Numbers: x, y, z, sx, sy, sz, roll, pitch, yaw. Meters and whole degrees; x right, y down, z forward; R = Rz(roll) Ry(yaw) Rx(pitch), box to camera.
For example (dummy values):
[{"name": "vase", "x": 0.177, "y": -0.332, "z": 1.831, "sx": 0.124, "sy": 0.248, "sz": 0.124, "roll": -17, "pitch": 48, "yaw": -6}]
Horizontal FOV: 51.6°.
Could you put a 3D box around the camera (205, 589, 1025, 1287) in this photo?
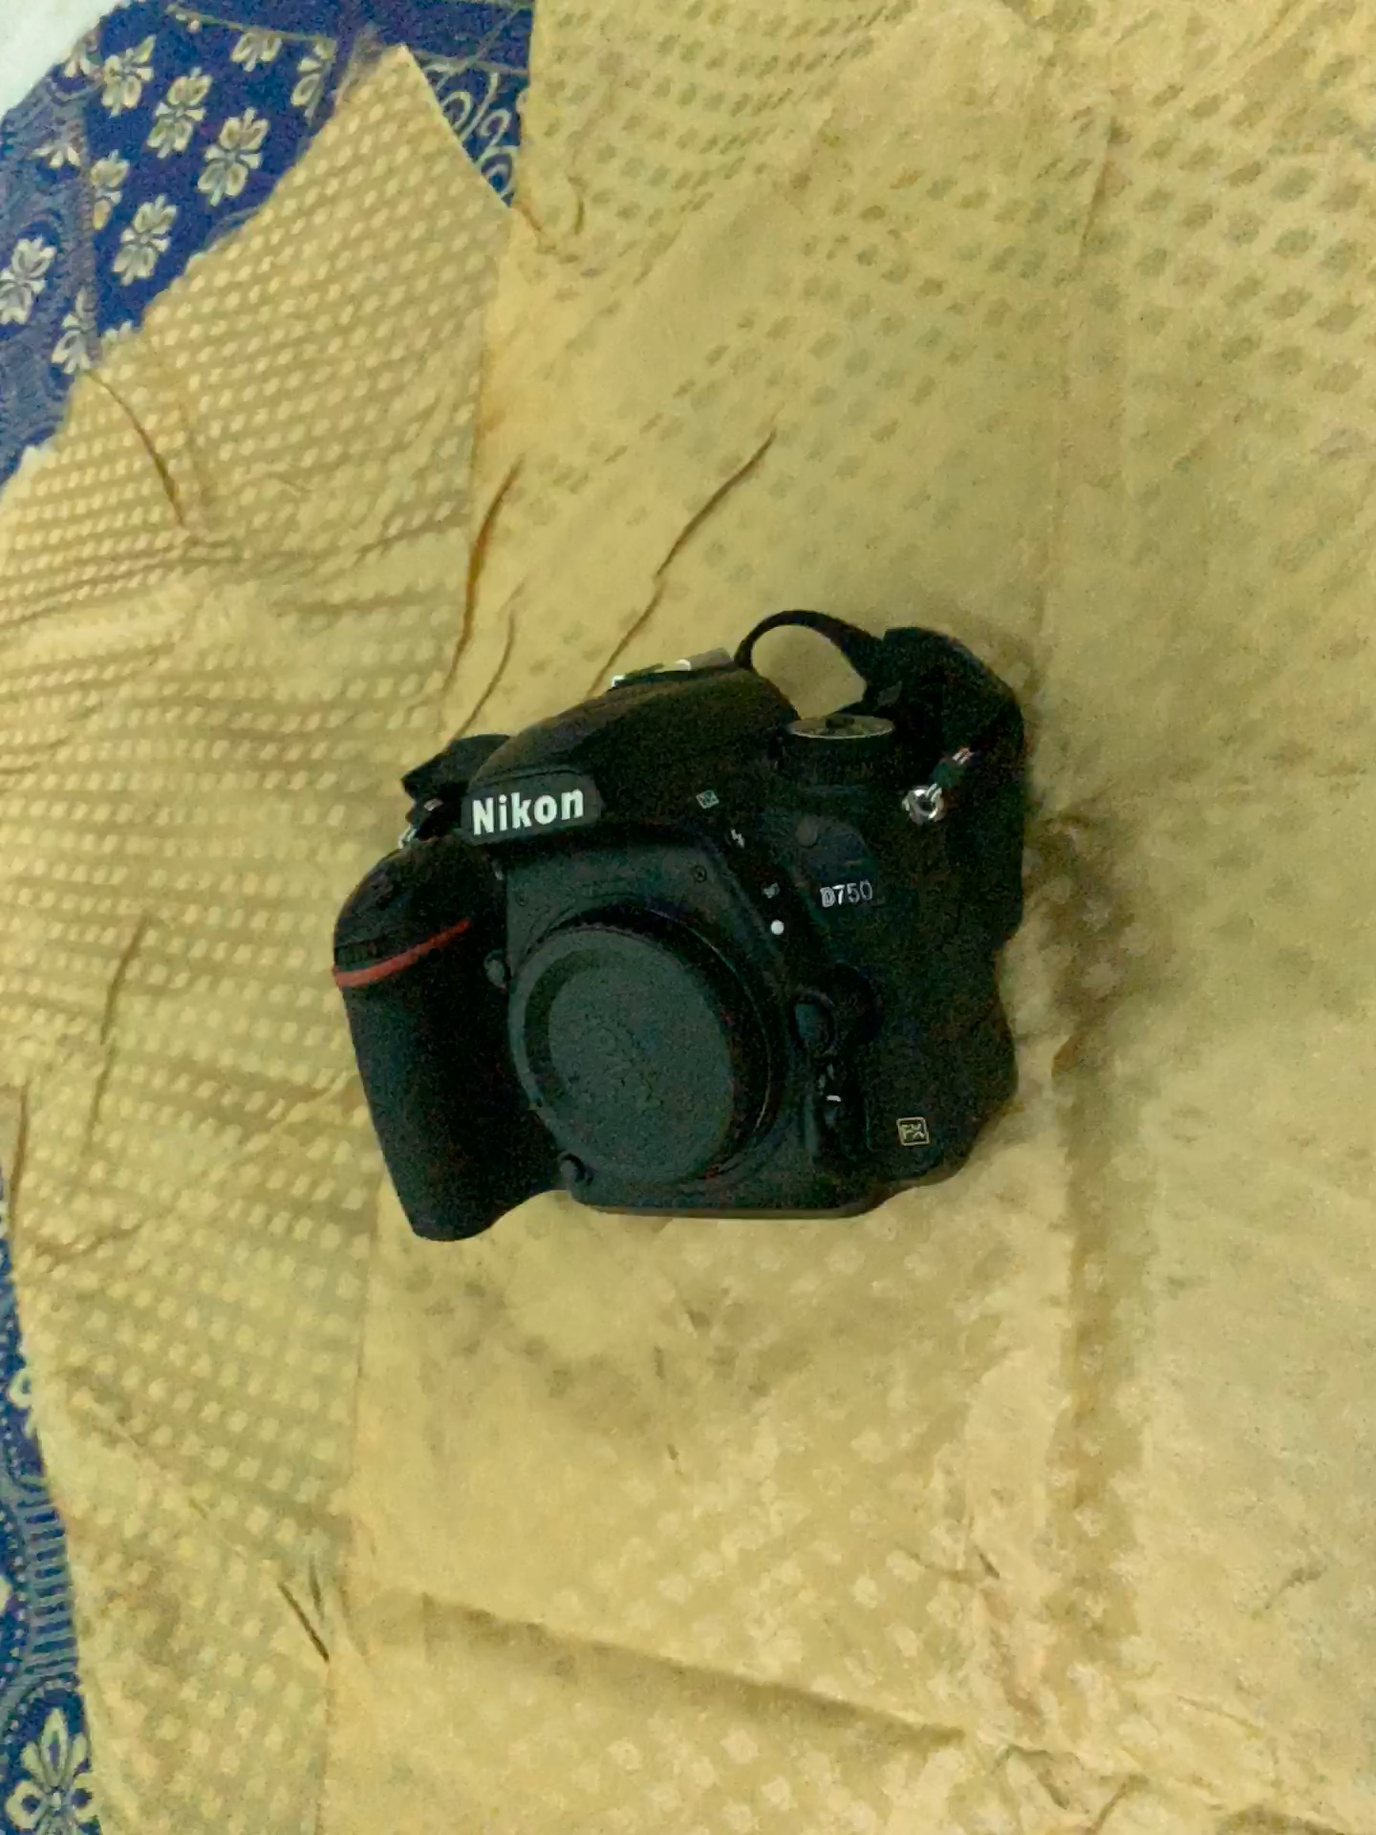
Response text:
[{"name": "camera", "x": -0.014, "y": 0.005, "z": 0.298, "sx": 0.131, "sy": 0.073, "sz": 0.110, "roll": -6, "pitch": 105, "yaw": 35}]
